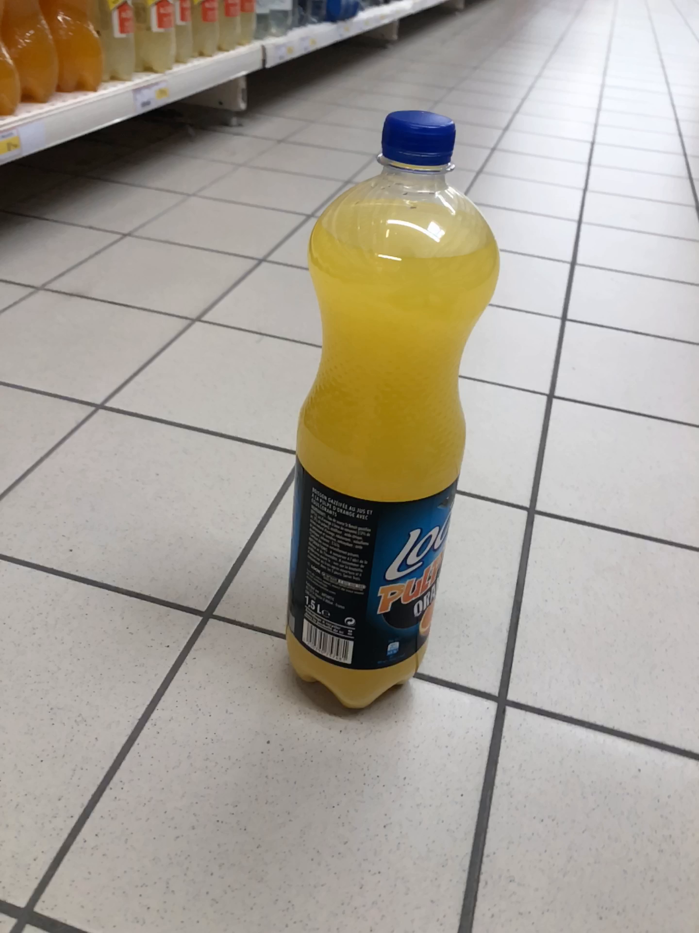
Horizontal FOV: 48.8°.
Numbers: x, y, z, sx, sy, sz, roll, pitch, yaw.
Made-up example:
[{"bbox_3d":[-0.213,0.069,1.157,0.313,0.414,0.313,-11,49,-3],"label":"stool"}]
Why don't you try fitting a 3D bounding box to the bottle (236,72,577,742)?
[{"bbox_3d":[0.013,-0.016,0.400,0.100,0.318,0.101,4,35,-3],"label":"bottle"}]
